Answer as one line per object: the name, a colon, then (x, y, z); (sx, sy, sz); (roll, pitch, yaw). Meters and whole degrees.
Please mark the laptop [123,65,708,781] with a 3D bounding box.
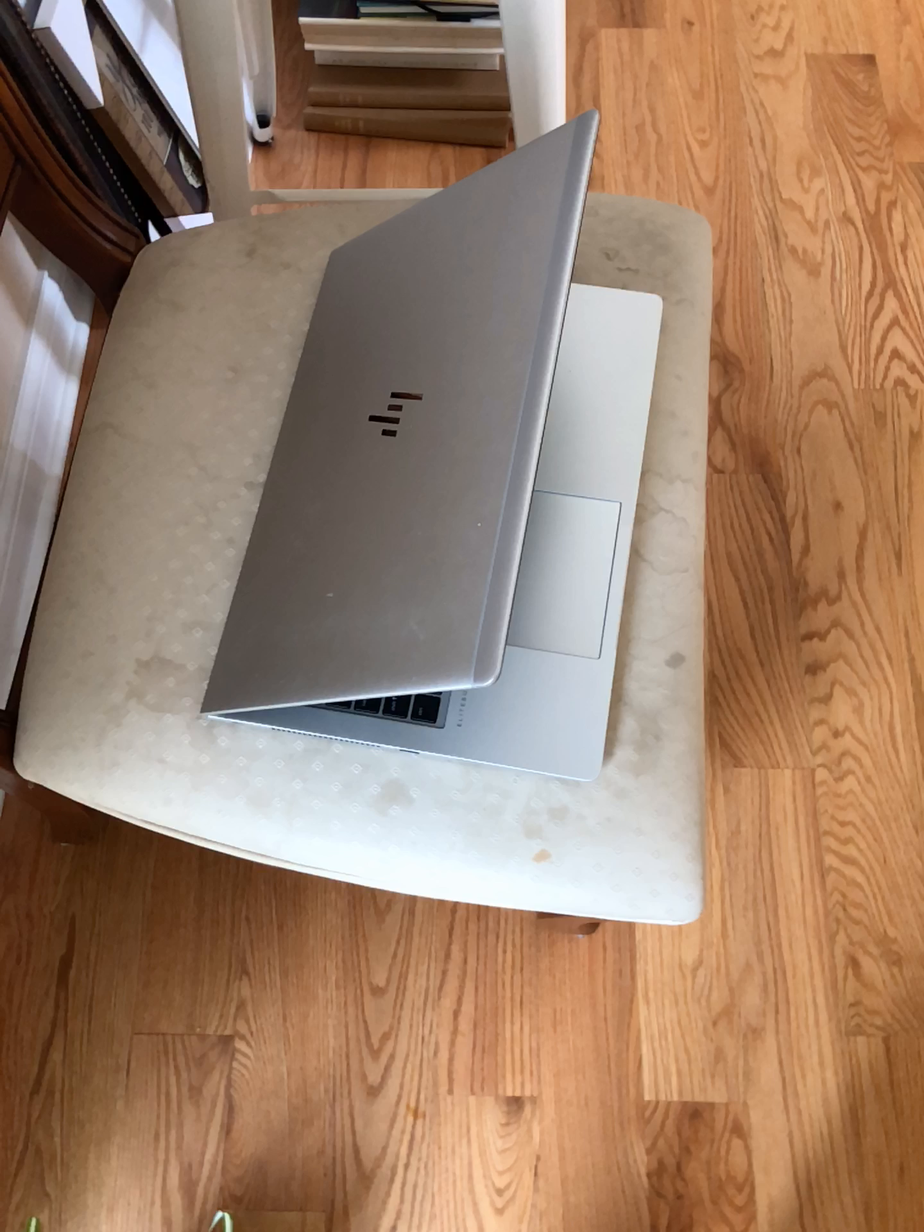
laptop: (-0.008, -0.116, 0.617); (0.244, 0.159, 0.366); (9, 69, 4)
